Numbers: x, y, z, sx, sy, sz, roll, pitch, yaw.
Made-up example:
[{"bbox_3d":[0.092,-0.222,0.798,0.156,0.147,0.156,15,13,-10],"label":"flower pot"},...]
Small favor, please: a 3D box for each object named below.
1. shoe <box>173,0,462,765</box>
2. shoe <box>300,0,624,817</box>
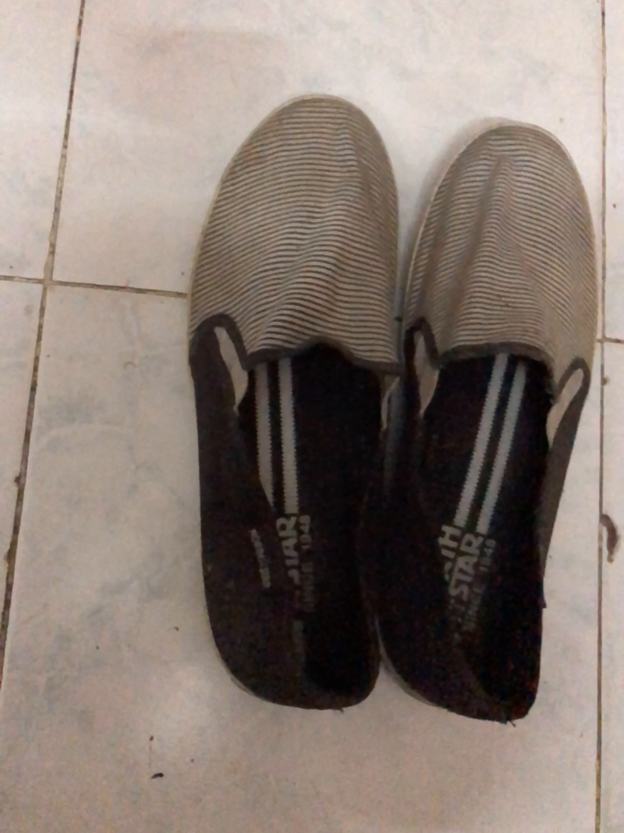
[{"bbox_3d":[0.001,-0.027,0.331,0.110,0.090,0.330,3,81,-8],"label":"shoe"},{"bbox_3d":[0.083,-0.015,0.334,0.110,0.090,0.340,11,80,-6],"label":"shoe"}]
